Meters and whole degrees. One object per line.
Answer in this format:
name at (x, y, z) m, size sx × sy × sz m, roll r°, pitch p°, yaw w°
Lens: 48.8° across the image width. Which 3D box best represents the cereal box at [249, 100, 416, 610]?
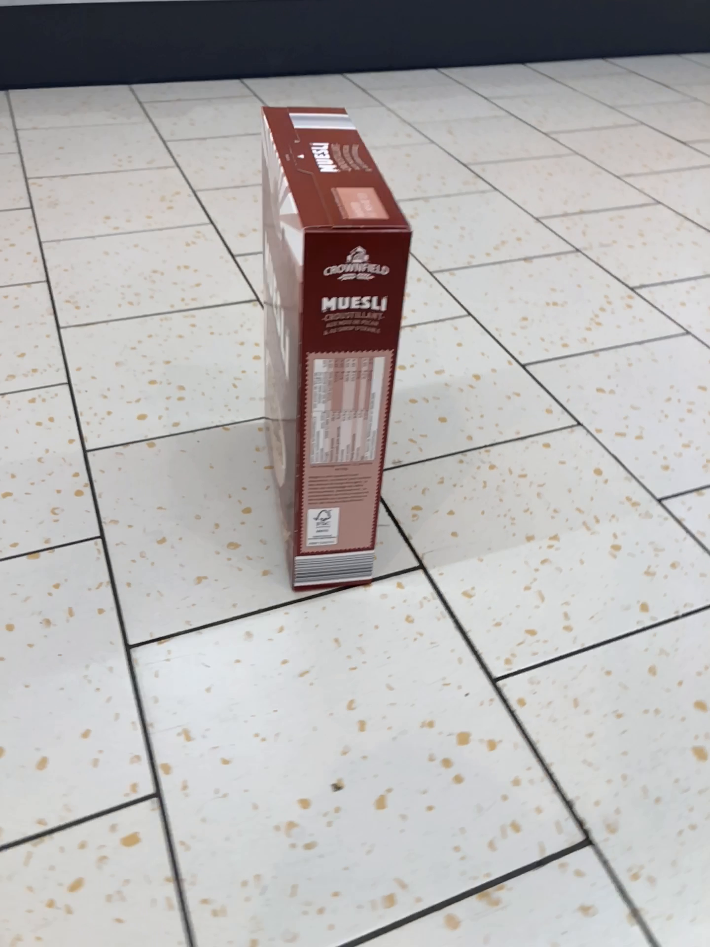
cereal box at (-0.025, -0.075, 0.498) m, size 0.060 × 0.248 × 0.201 m, roll -4°, pitch 41°, yaw -9°
